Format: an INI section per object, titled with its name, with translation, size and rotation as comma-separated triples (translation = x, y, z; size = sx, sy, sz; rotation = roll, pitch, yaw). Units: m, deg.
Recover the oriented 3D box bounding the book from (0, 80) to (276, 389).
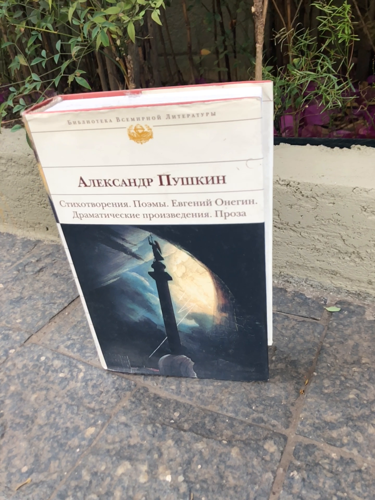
[book]
translation = -0.018, 0.000, 0.287
size = 0.150, 0.204, 0.050
rotation = 1, 31, 11
